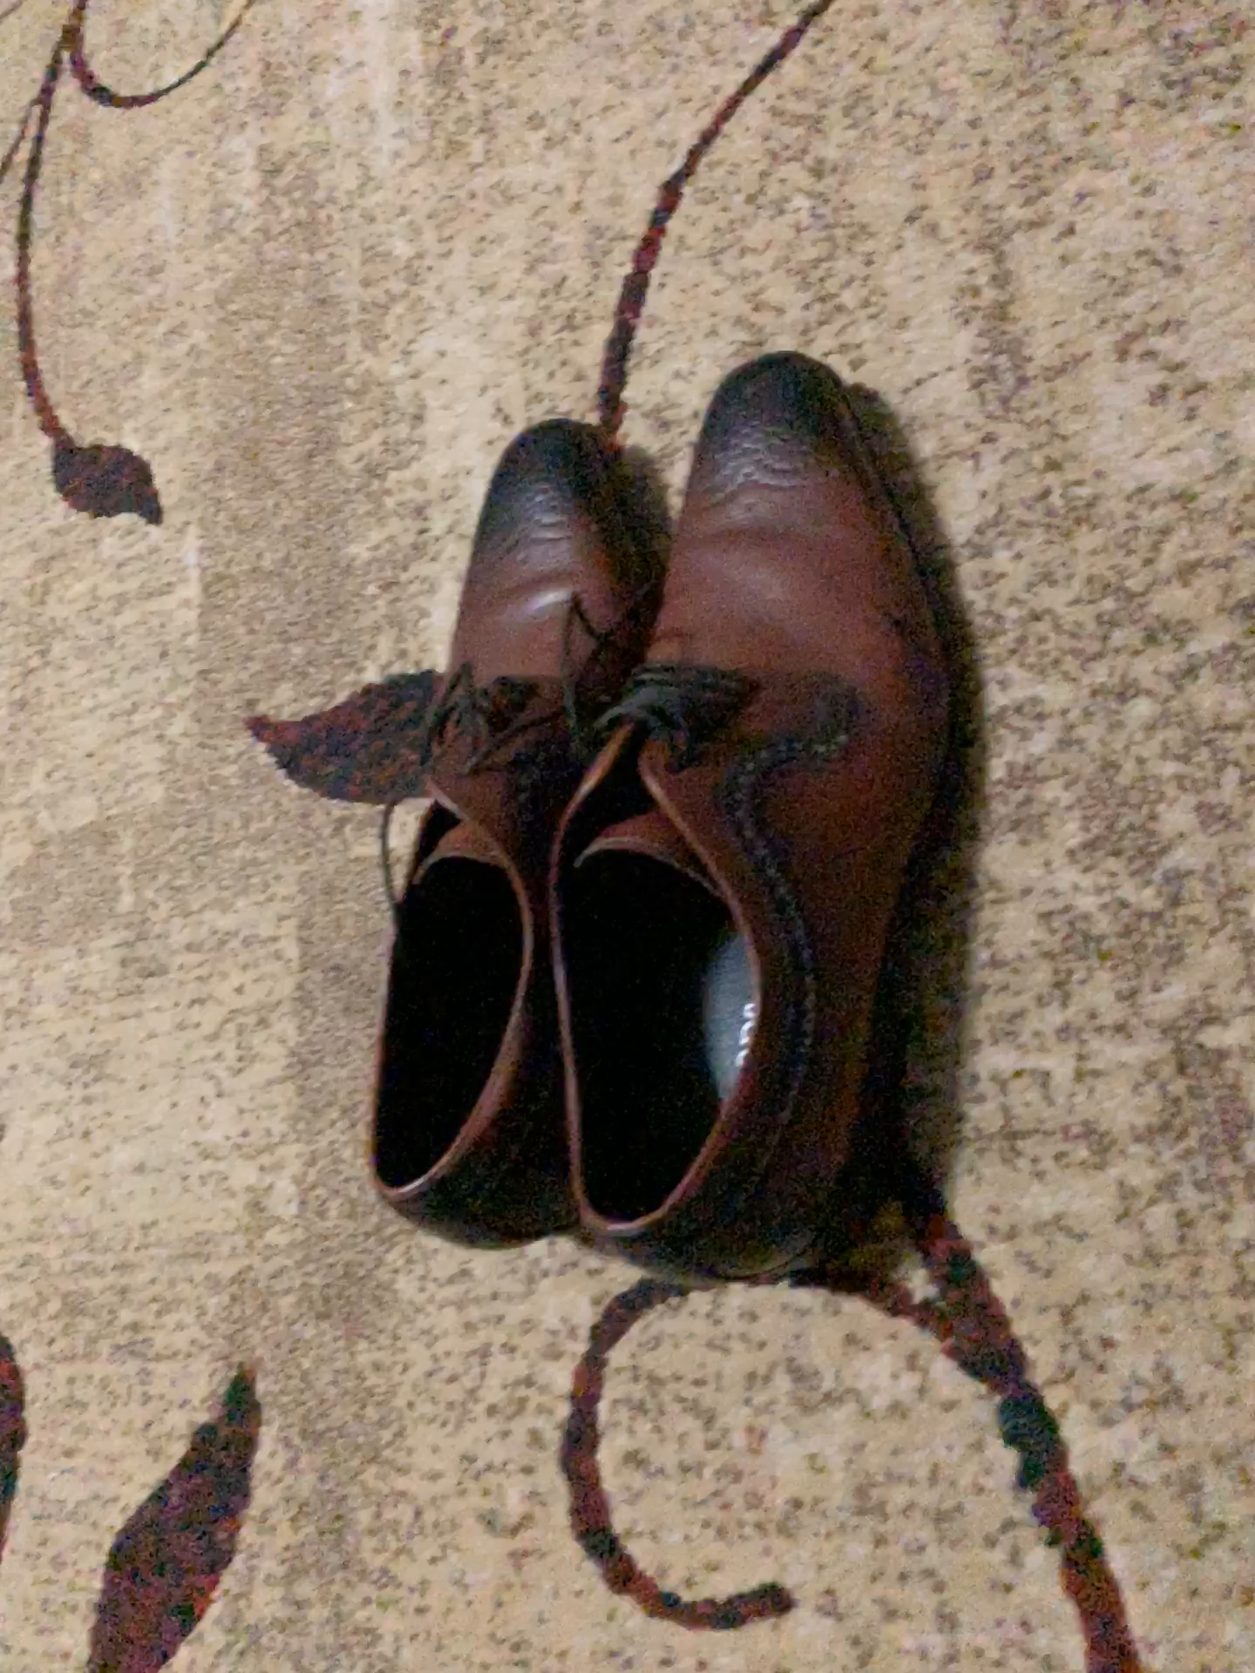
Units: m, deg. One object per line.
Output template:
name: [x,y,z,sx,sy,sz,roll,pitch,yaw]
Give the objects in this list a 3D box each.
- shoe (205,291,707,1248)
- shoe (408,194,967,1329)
shoe: [-0.046,-0.012,0.417,0.096,0.115,0.274,-10,71,31]
shoe: [0.029,-0.015,0.368,0.096,0.115,0.274,-4,74,33]
